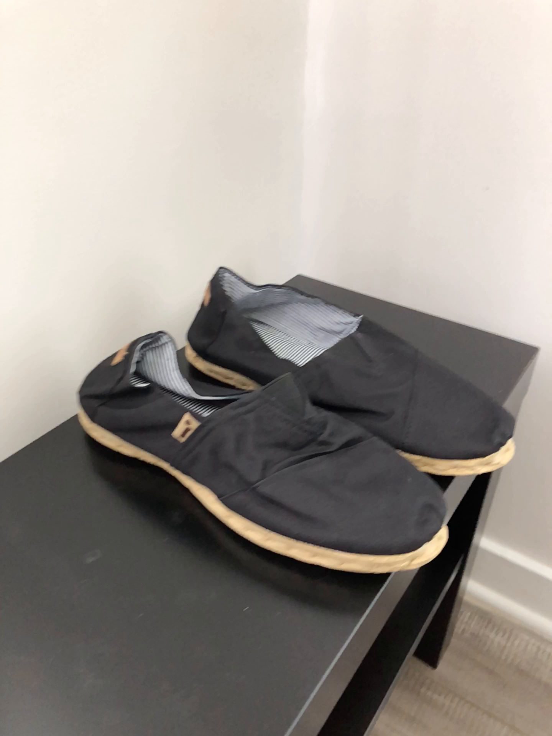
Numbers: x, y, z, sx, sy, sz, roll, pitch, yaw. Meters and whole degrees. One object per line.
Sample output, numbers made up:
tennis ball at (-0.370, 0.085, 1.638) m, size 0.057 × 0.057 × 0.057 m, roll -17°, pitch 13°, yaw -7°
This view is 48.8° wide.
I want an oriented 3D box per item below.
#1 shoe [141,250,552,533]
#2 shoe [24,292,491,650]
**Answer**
shoe at (0.040, -0.001, 0.449) m, size 0.275 × 0.080 × 0.101 m, roll 22°, pitch 39°, yaw 27°
shoe at (-0.023, 0.044, 0.389) m, size 0.275 × 0.080 × 0.101 m, roll 22°, pitch 39°, yaw 27°
